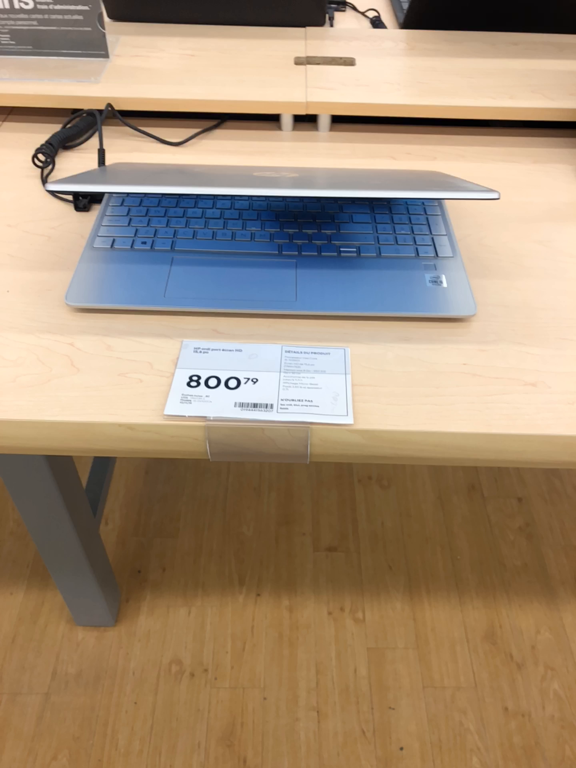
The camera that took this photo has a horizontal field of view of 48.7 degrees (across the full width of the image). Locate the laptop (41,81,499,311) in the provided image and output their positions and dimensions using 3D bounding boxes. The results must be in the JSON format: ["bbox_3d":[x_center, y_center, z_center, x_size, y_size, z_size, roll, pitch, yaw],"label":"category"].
[{"bbox_3d":[-0.011,-0.178,0.578,0.340,0.086,0.225,1,48,-1],"label":"laptop"}]
